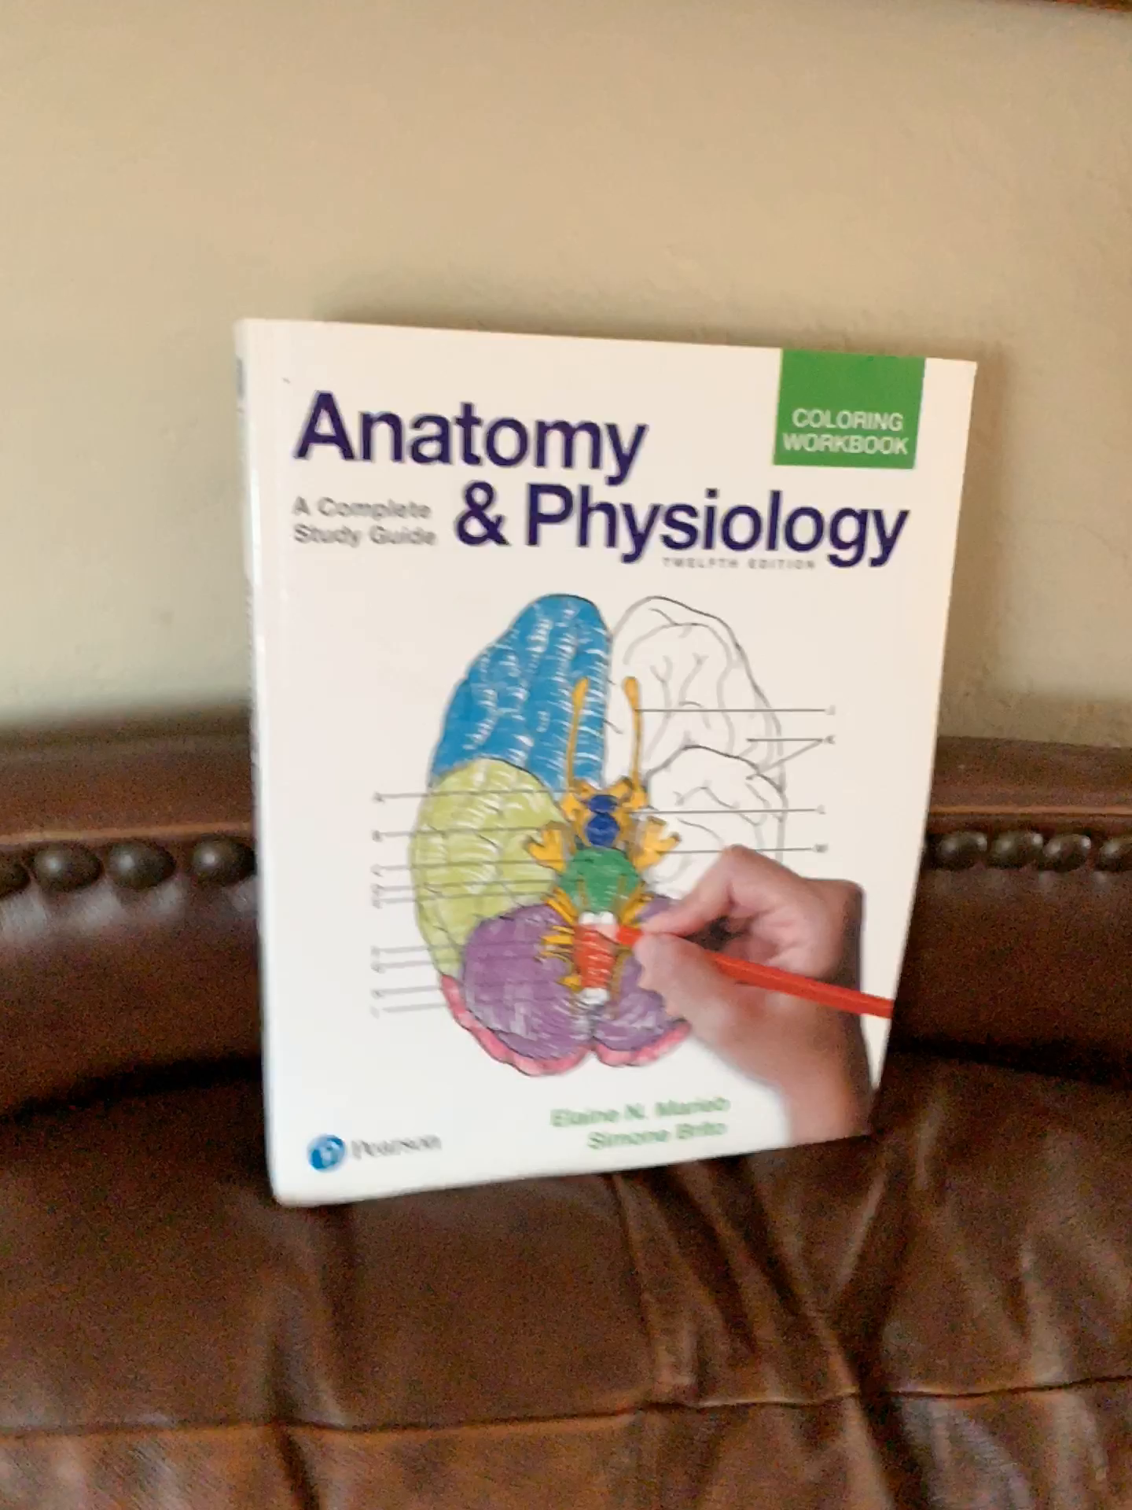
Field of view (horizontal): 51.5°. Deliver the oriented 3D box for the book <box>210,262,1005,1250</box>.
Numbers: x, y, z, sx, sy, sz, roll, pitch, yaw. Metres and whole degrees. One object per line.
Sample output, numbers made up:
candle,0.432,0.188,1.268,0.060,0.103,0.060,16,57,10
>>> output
book,0.011,0.003,0.382,0.220,0.289,0.060,-3,16,-12
